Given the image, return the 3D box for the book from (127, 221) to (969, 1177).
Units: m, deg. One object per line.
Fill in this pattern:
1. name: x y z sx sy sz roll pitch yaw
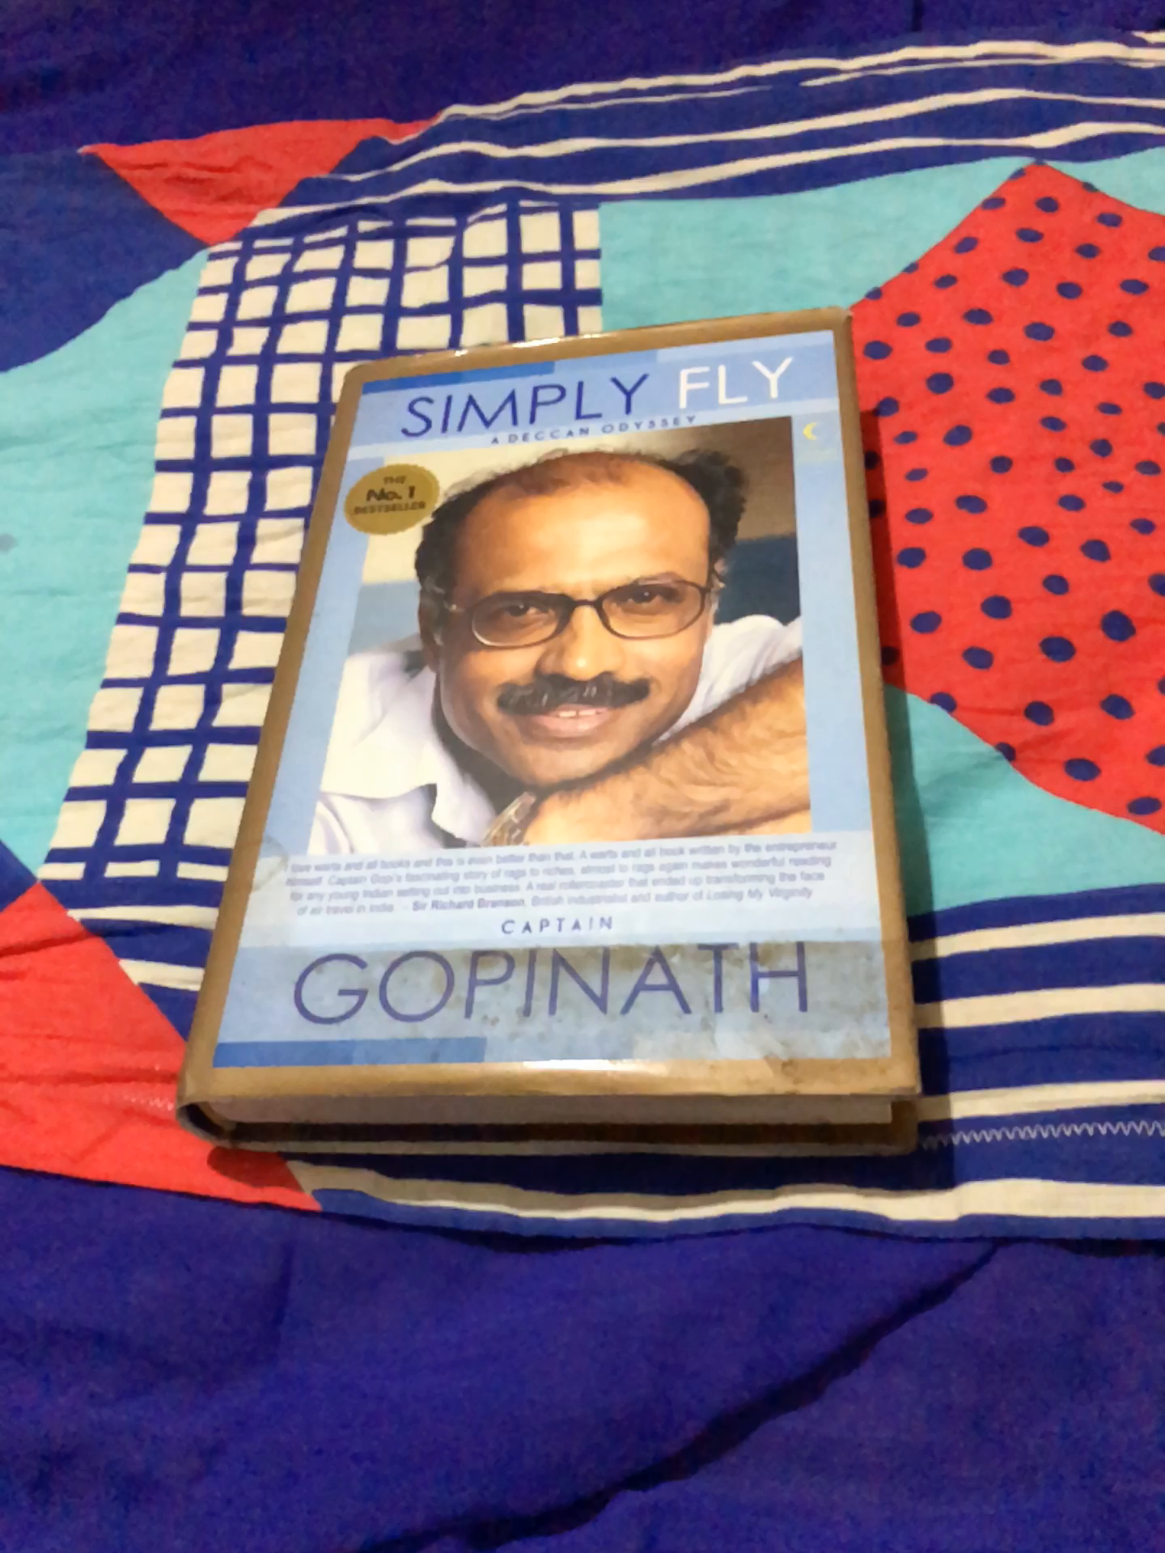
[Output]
1. book: -0.001 -0.032 0.331 0.160 0.050 0.251 -3 58 9
